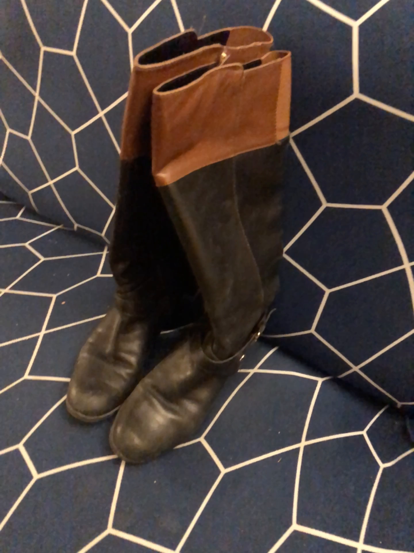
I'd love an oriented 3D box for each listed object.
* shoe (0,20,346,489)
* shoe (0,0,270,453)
[{"bbox_3d":[-0.020,0.006,0.431,0.100,0.378,0.251,34,56,28],"label":"shoe"},{"bbox_3d":[-0.074,-0.034,0.495,0.110,0.427,0.271,28,52,21],"label":"shoe"}]
